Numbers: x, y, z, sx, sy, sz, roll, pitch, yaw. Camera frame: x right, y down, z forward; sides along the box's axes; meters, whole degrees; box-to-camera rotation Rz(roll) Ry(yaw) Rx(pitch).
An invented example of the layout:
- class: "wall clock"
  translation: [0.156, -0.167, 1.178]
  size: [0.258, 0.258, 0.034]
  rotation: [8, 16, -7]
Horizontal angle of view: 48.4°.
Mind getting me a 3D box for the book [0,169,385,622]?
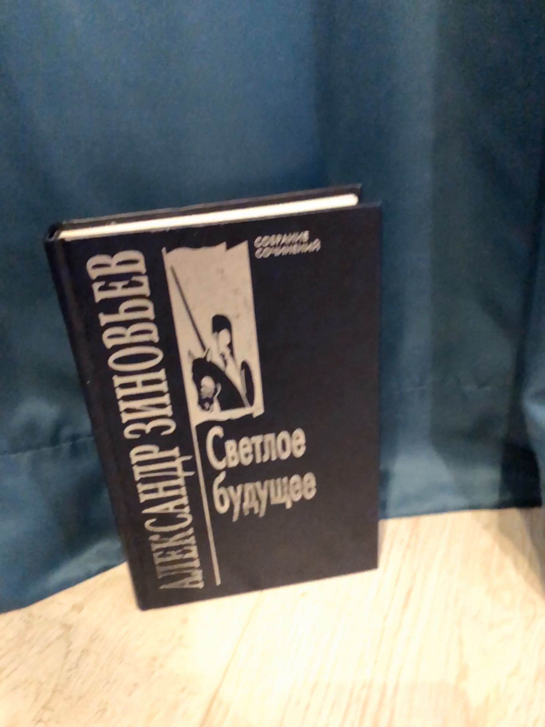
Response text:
- class: "book"
  translation: [-0.026, 0.022, 0.286]
  size: [0.150, 0.199, 0.040]
  rotation: [-8, 27, -6]
